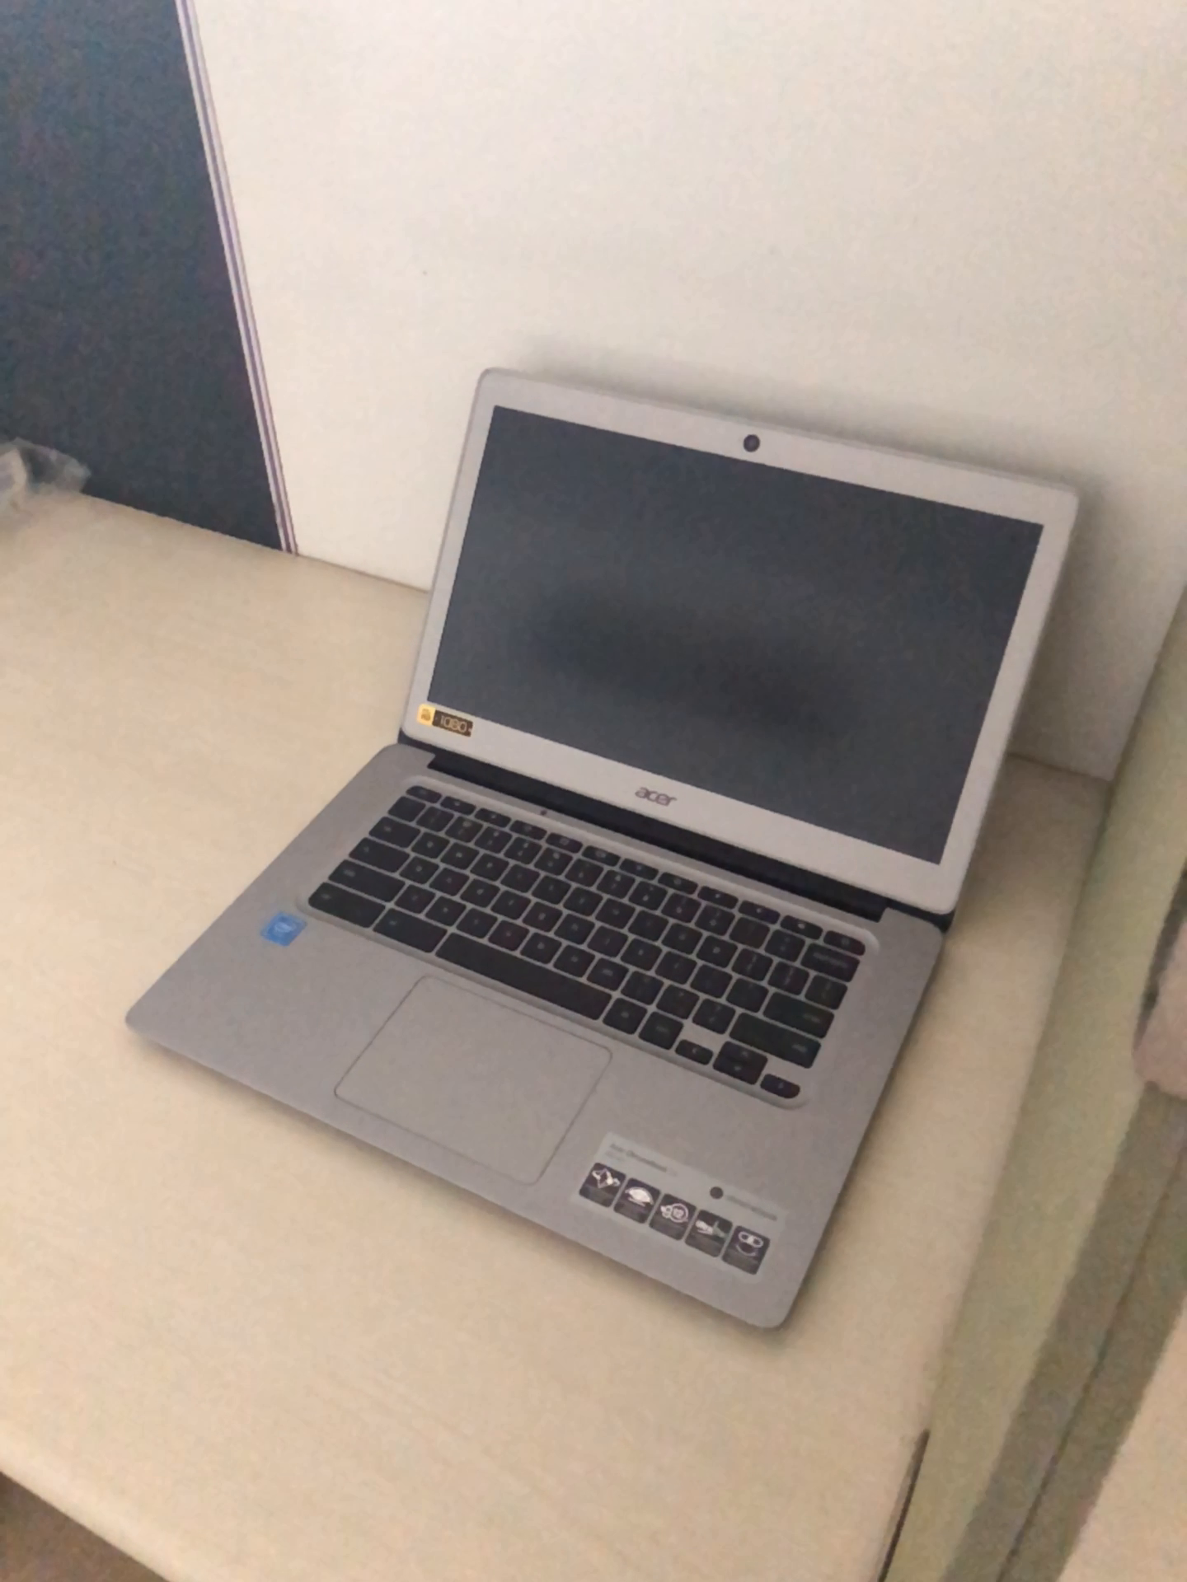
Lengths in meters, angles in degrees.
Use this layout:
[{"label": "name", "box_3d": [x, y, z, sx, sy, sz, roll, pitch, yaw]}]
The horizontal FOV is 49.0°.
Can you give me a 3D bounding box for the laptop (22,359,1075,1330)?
[{"label": "laptop", "box_3d": [0.007, -0.018, 0.620, 0.323, 0.168, 0.367, 19, 47, 20]}]
